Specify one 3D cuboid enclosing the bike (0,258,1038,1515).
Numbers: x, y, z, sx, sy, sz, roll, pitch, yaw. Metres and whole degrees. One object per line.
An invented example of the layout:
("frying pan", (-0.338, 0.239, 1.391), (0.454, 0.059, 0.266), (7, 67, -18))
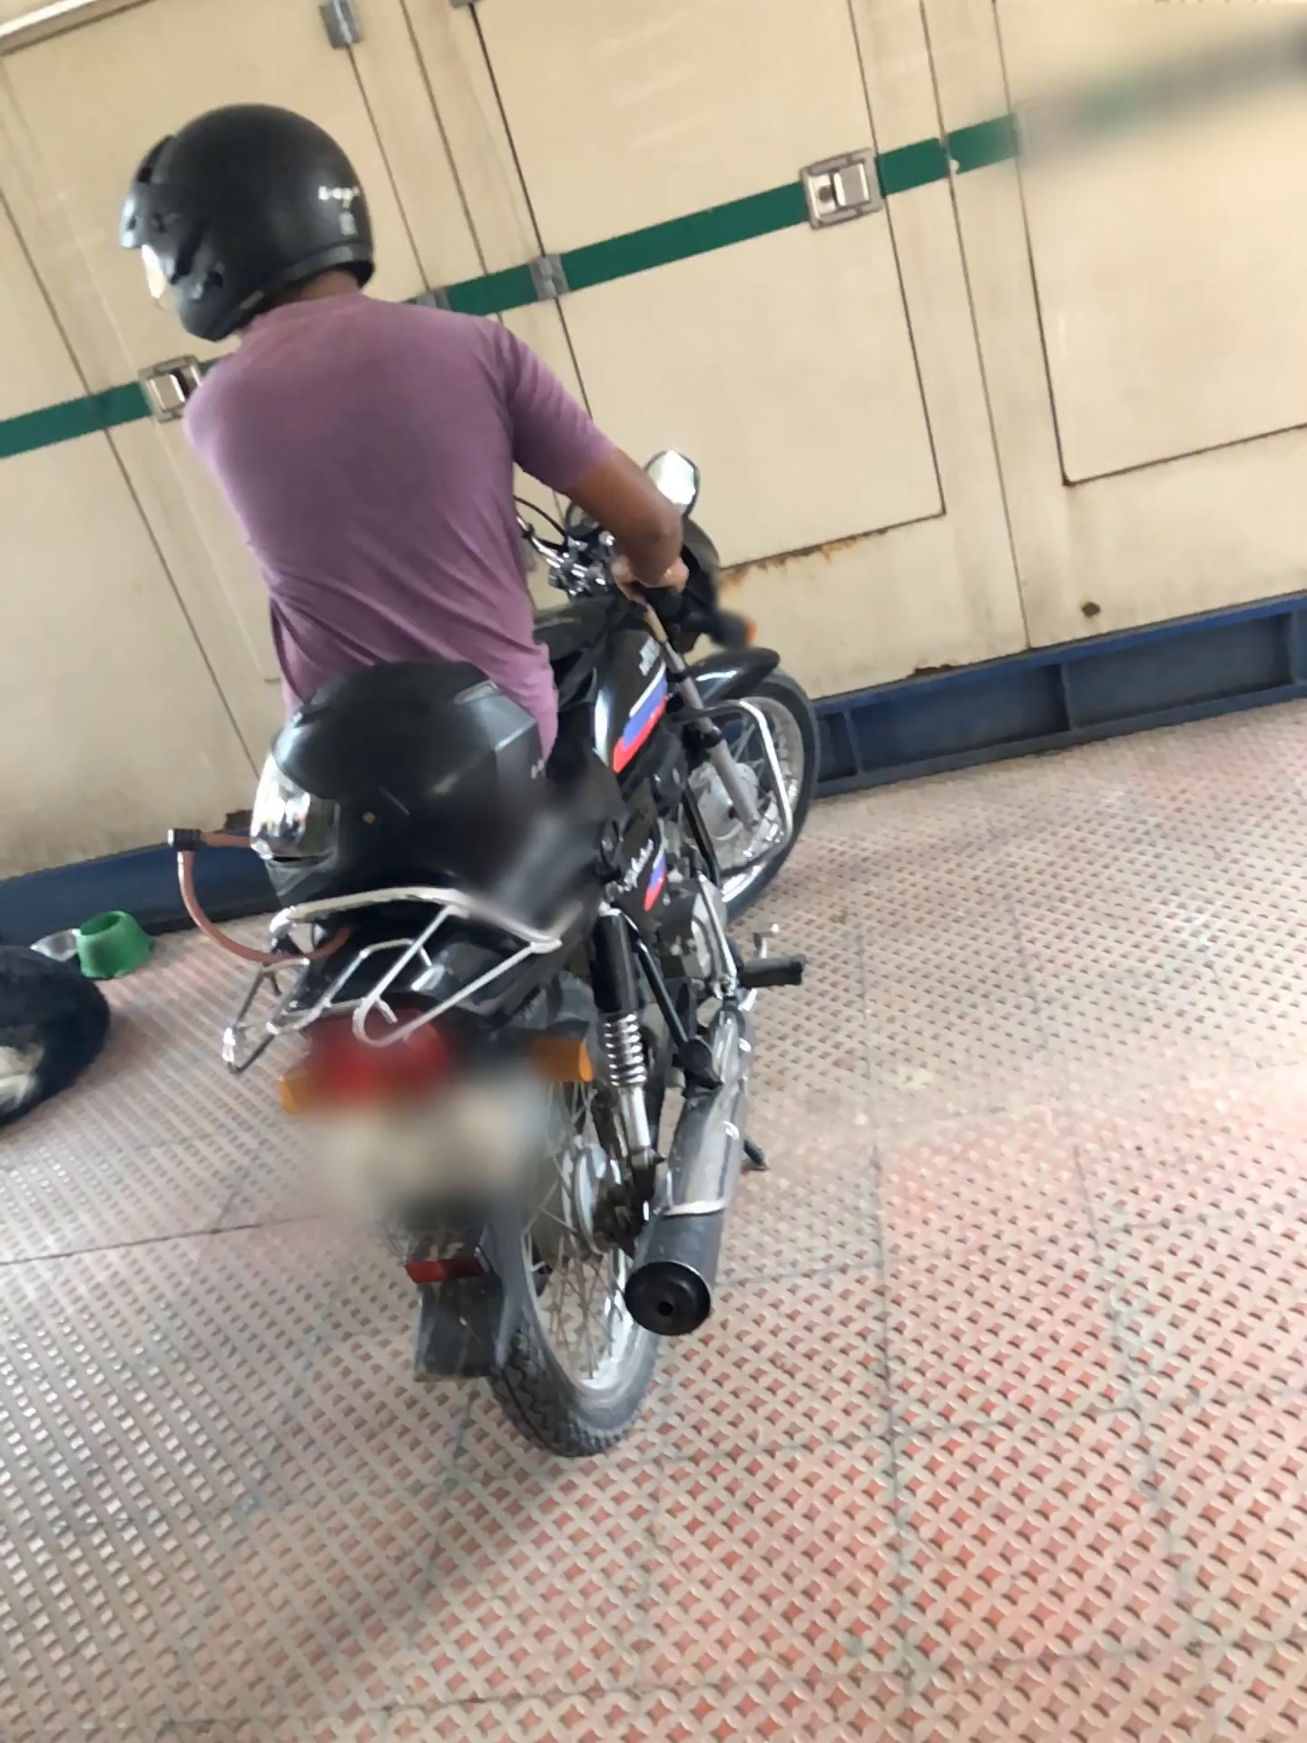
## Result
("bike", (0.037, -0.124, 2.062), (0.815, 0.927, 1.602), (-7, 30, 20))
